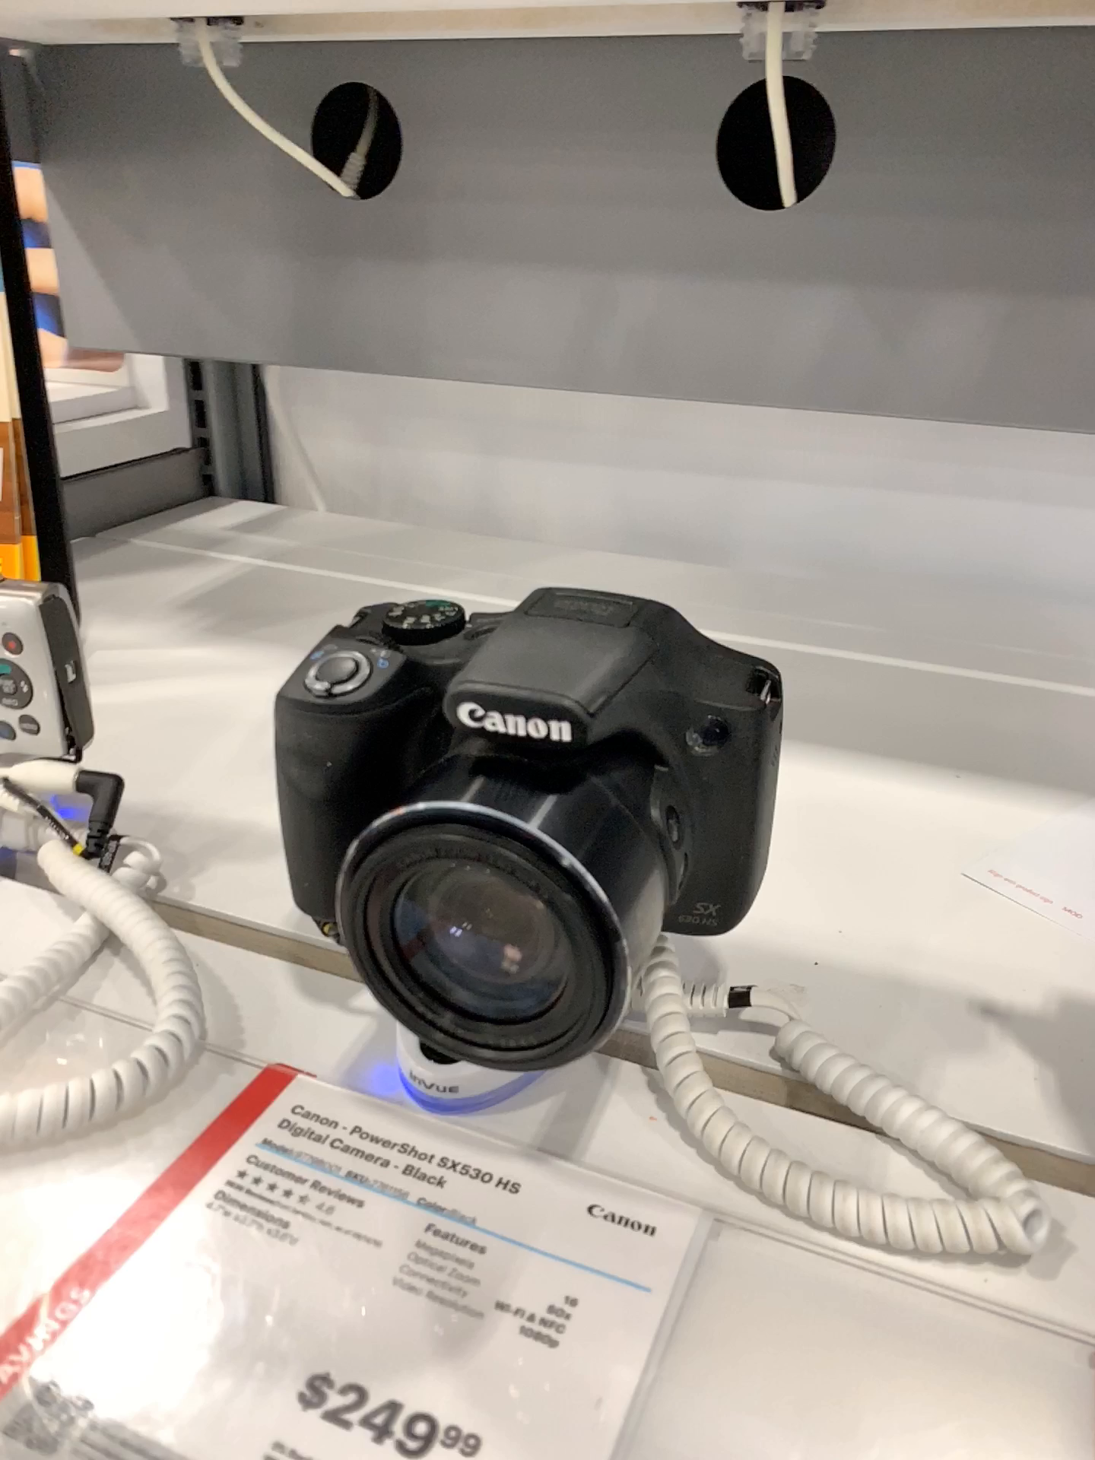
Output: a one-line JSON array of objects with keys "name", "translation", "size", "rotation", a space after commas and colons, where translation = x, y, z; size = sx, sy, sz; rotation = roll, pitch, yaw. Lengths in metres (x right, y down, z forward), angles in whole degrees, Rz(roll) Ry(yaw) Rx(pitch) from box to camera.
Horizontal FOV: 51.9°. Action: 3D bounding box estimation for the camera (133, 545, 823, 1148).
[{"name": "camera", "translation": [-0.010, 0.015, 0.265], "size": [0.120, 0.080, 0.100], "rotation": [11, 27, 21]}]
